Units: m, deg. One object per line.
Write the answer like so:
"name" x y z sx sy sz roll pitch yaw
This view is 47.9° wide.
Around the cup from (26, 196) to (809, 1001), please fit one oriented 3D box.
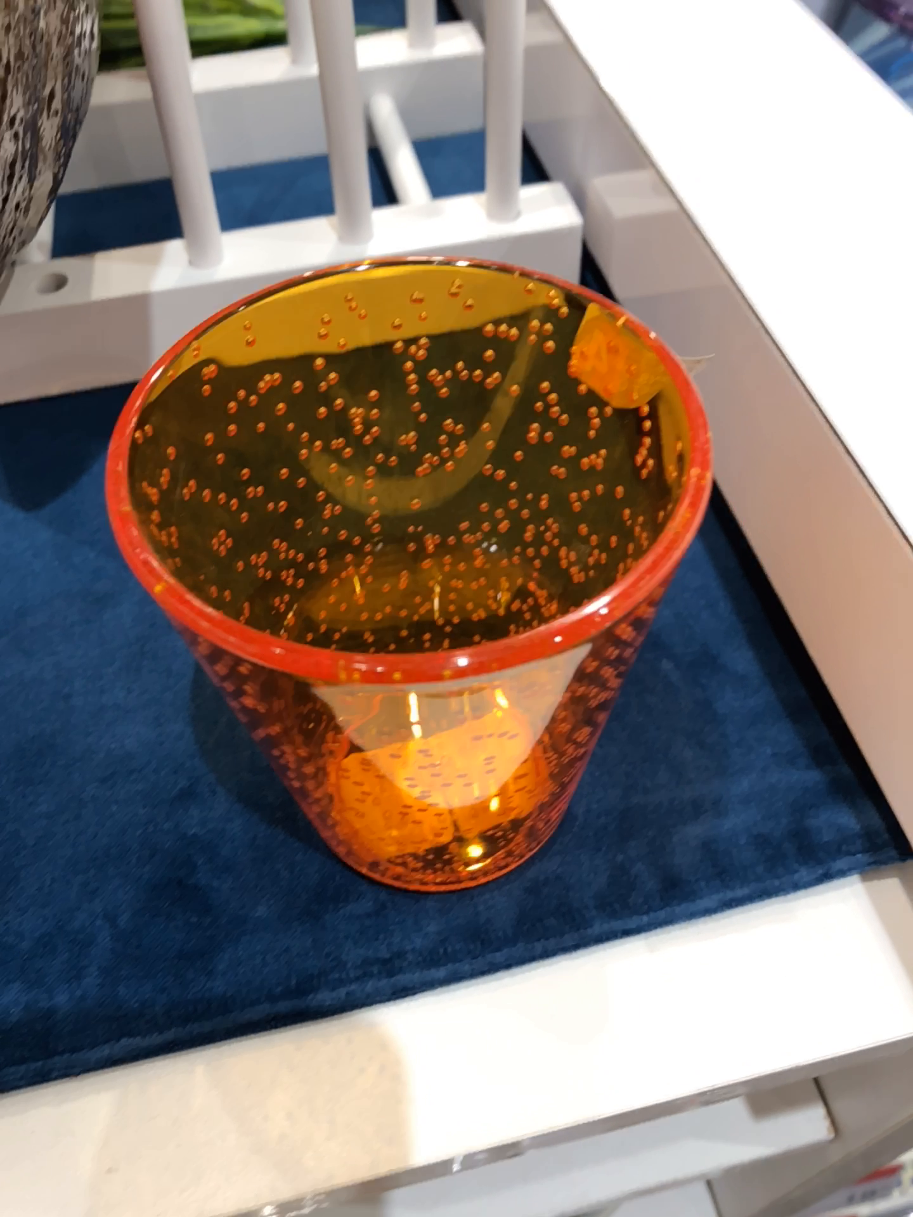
"cup" -0.008 0.001 0.170 0.080 0.090 0.070 -22 55 -15
